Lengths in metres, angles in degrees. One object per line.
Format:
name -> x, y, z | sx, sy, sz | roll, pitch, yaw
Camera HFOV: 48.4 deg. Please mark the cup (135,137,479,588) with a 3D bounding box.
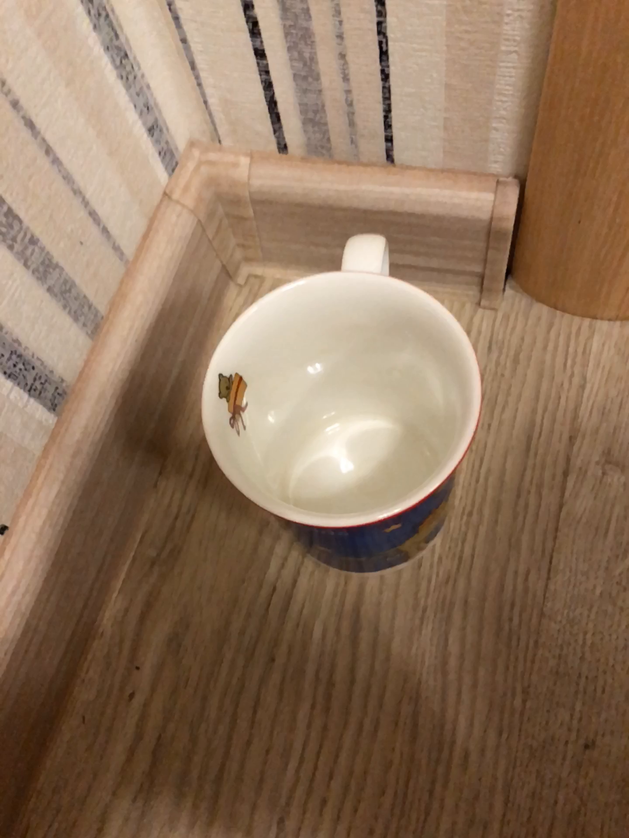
cup -> 0.009, -0.013, 0.240 | 0.087, 0.094, 0.121 | 1, 68, 10
